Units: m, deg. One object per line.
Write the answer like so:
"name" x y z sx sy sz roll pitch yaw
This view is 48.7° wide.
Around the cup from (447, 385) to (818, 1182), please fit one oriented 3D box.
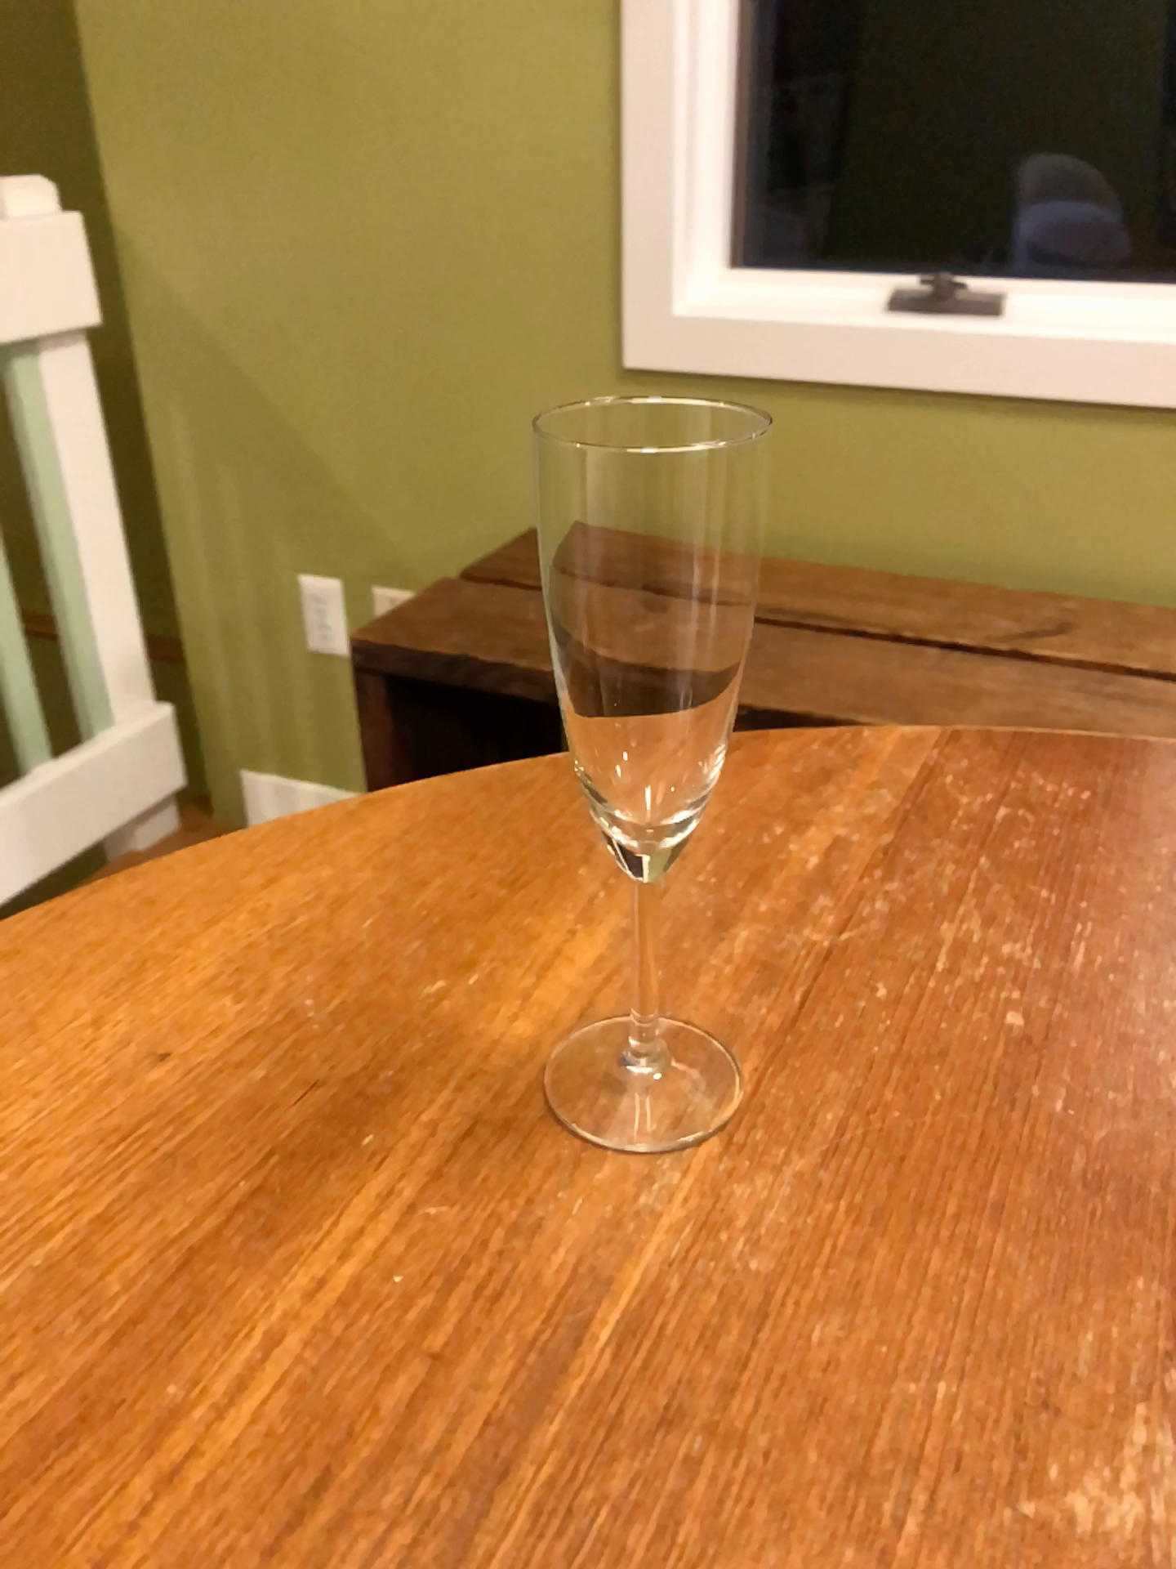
"cup" 0.016 0.001 0.382 0.070 0.211 0.077 12 30 24
